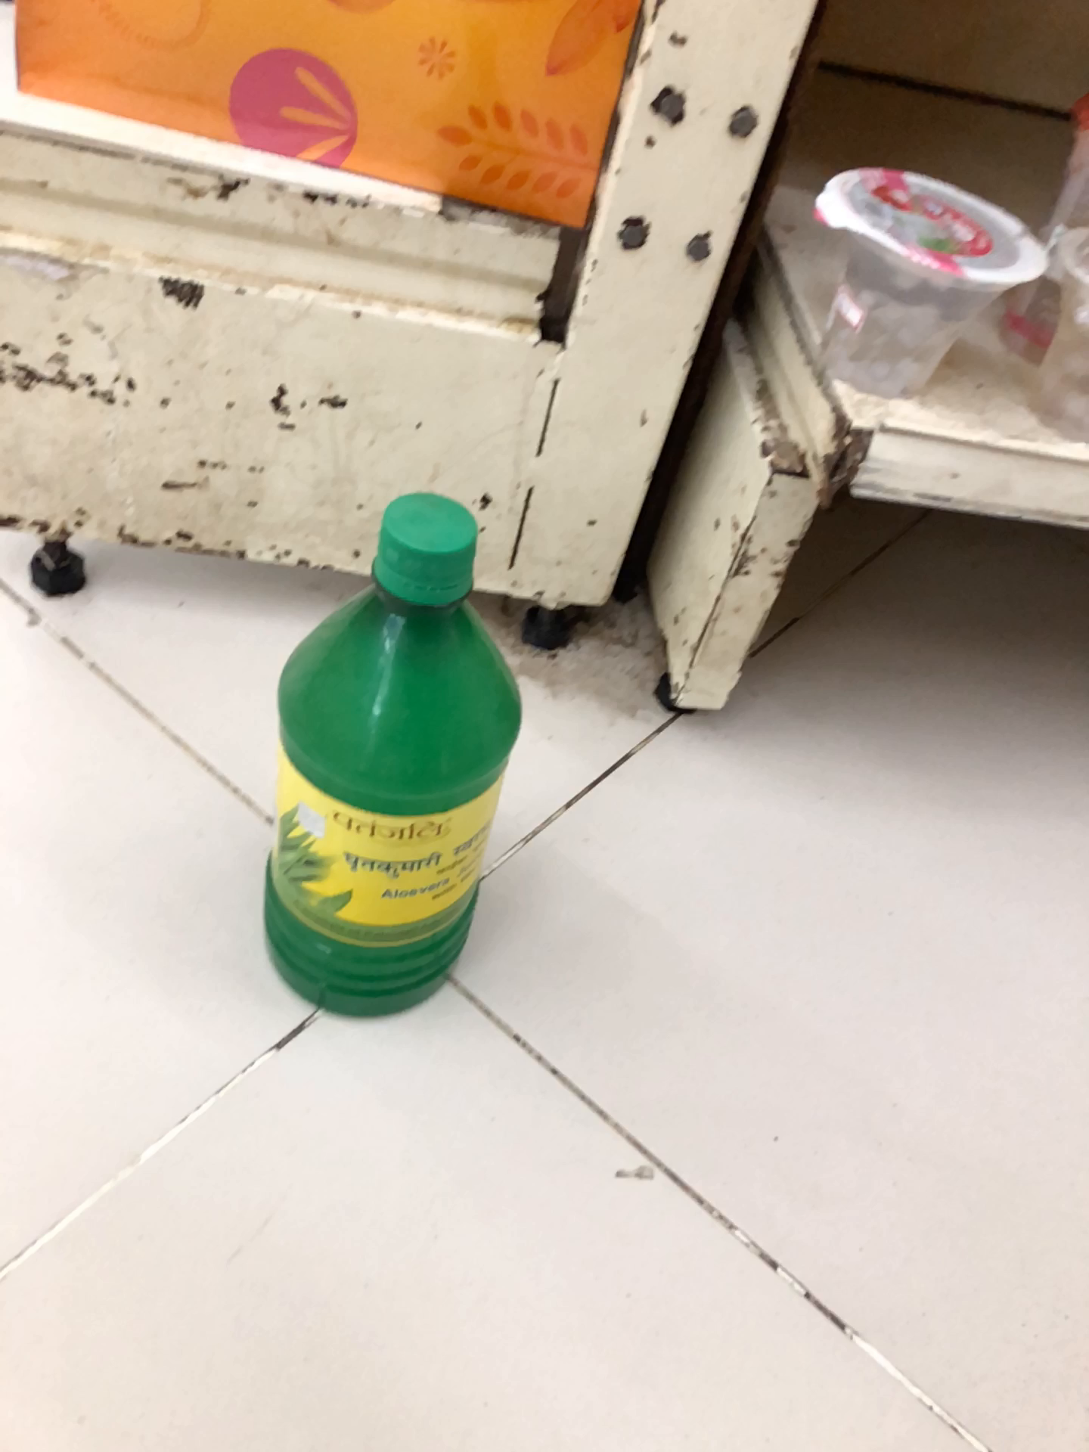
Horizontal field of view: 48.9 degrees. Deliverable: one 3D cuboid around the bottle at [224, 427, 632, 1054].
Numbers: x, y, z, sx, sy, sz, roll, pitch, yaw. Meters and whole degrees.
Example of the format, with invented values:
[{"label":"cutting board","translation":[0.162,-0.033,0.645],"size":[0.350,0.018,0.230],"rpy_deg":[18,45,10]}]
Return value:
[{"label":"bottle","translation":[-0.059,0.013,0.454],"size":[0.100,0.219,0.100],"rpy_deg":[8,46,-8]}]
